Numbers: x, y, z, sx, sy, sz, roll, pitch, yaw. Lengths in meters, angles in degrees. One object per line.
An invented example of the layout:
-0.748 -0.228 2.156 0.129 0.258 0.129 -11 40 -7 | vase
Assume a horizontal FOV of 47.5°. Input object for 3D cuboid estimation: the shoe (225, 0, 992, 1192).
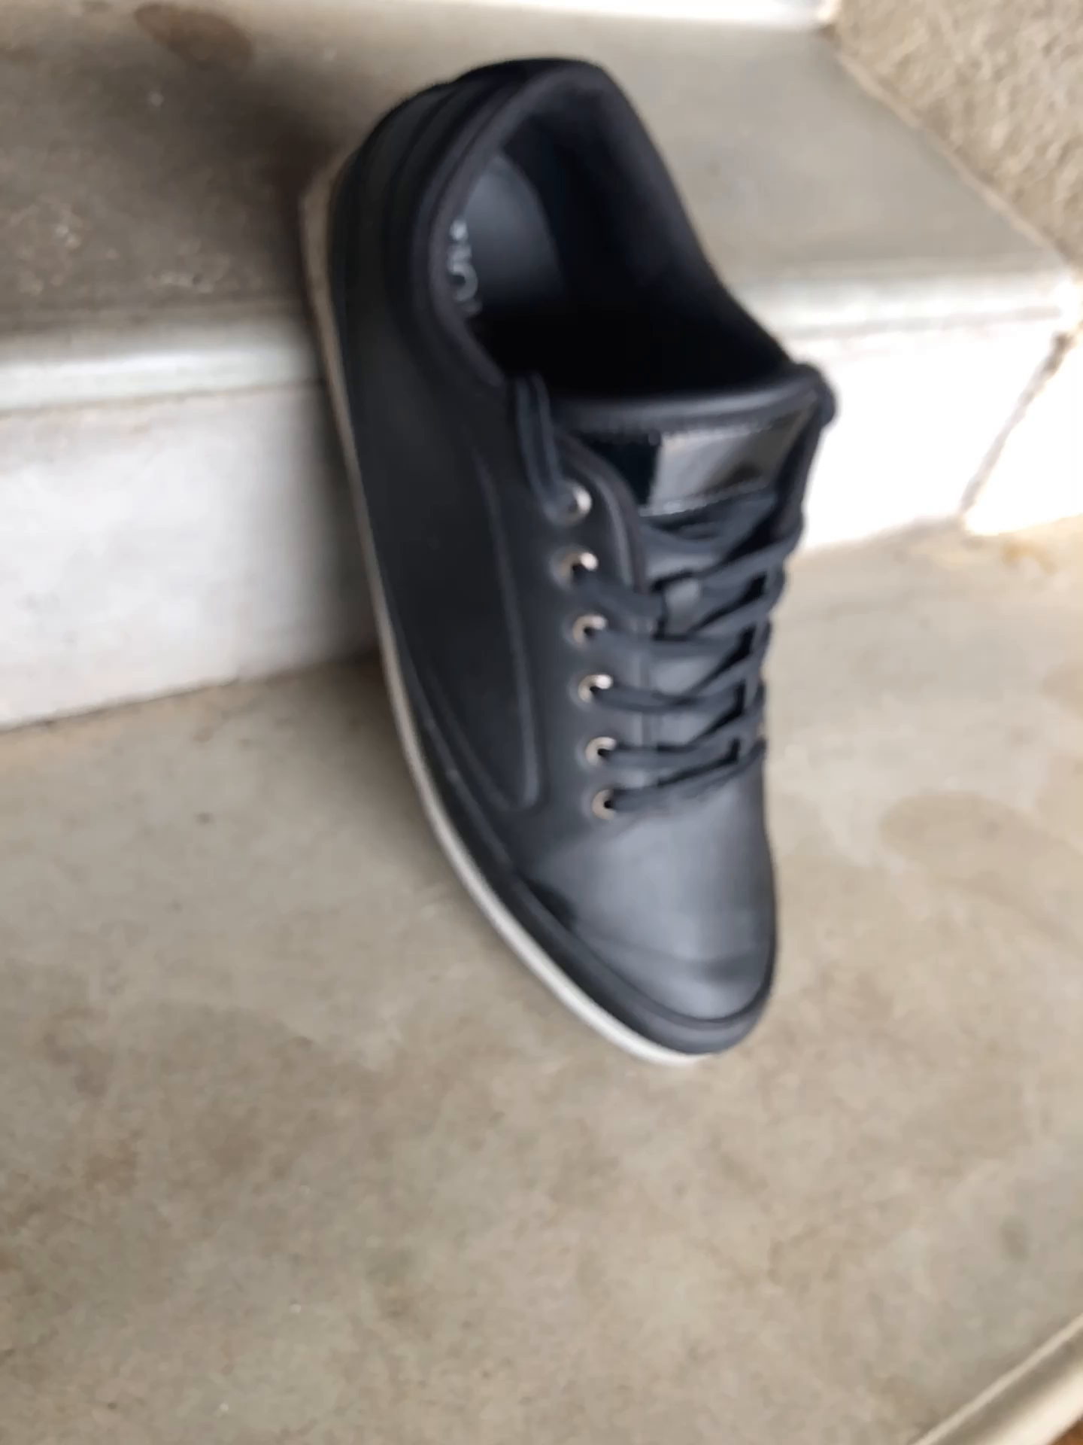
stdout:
0.022 -0.041 0.358 0.131 0.090 0.290 -17 96 -32 | shoe
